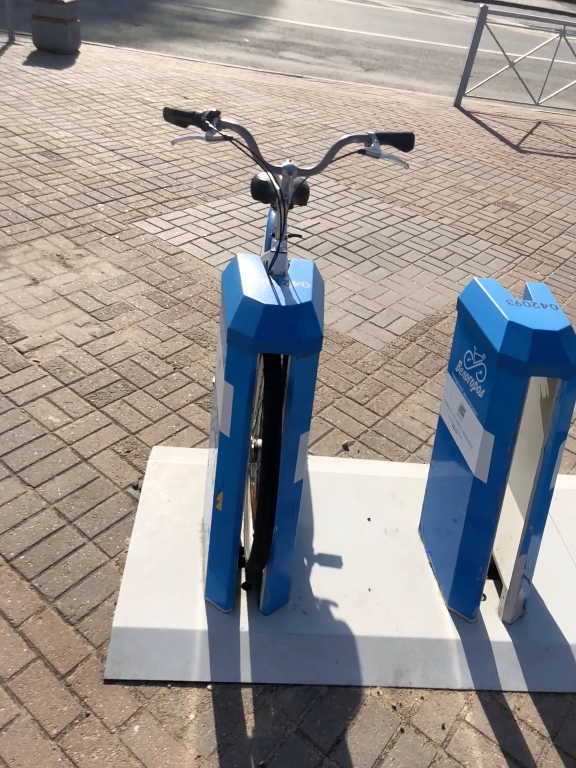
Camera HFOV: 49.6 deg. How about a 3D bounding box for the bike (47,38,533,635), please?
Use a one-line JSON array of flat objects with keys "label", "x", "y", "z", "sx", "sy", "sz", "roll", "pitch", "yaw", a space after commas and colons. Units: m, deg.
[{"label": "bike", "x": -0.079, "y": -0.309, "z": 1.952, "sx": 0.681, "sy": 1.233, "sz": 1.684, "roll": 6, "pitch": 32, "yaw": -4}]
